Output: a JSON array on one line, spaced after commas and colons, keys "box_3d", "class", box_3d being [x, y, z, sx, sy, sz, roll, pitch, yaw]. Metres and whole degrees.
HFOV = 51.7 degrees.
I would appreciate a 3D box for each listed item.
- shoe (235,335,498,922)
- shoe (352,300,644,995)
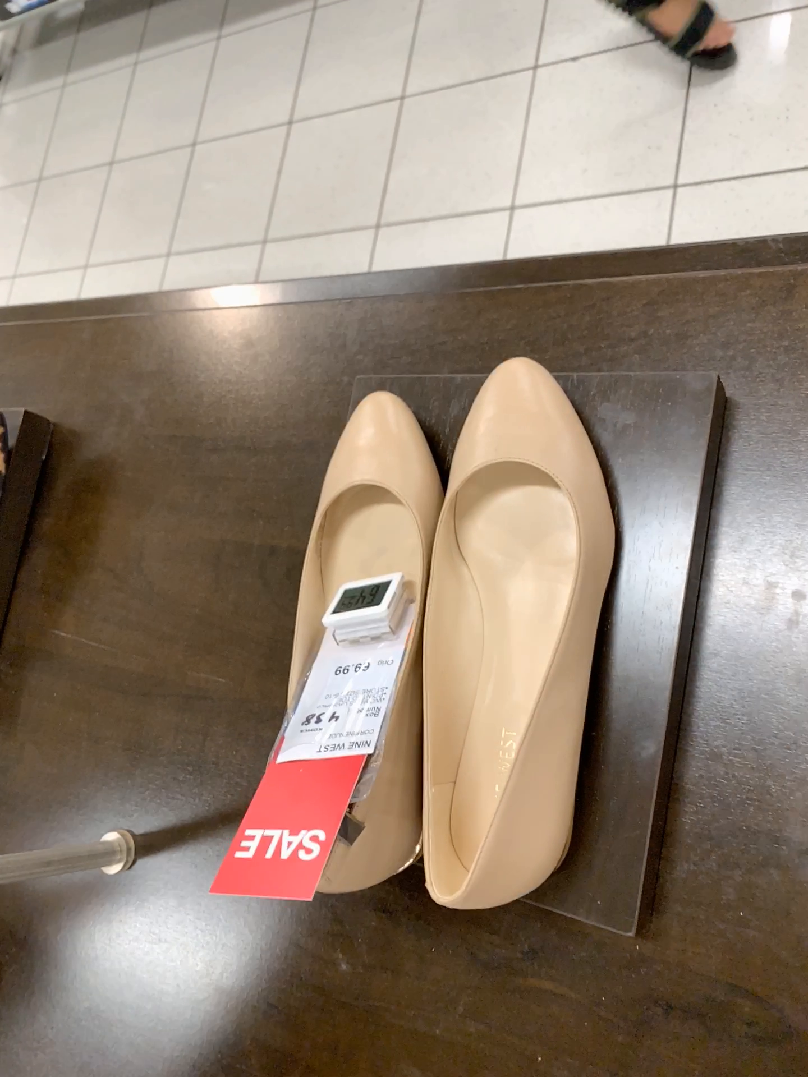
[{"box_3d": [-0.016, 0.041, 0.407, 0.090, 0.080, 0.250, -9, 73, 28], "class": "shoe"}, {"box_3d": [0.044, 0.040, 0.356, 0.090, 0.080, 0.250, -5, 75, 29], "class": "shoe"}]
